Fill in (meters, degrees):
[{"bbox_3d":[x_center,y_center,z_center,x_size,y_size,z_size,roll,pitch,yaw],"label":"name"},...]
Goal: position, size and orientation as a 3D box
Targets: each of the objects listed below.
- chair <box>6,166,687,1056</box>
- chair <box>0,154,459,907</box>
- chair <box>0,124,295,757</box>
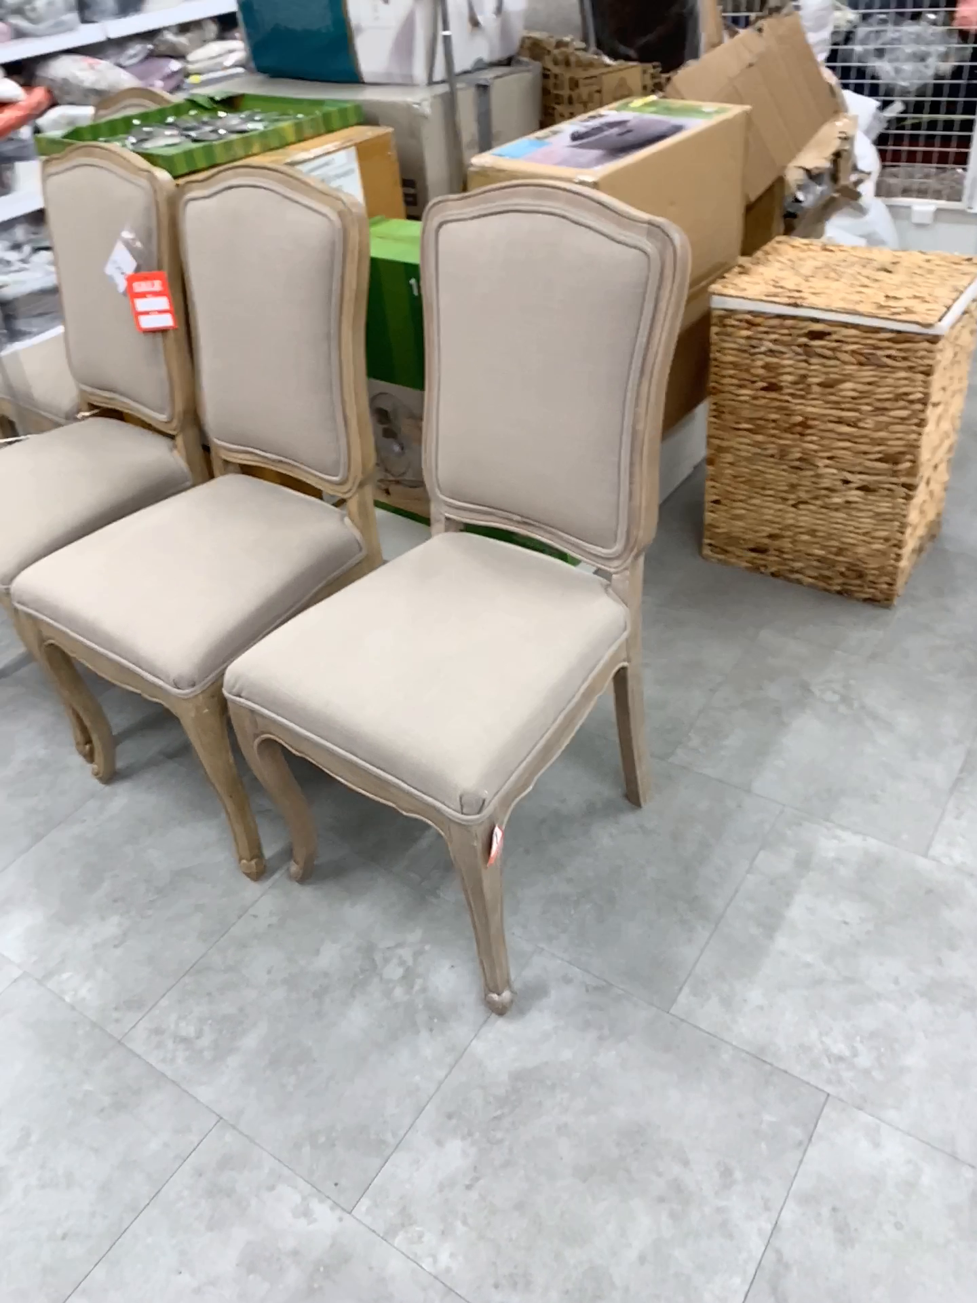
[{"bbox_3d":[-0.084,-0.063,1.365,0.508,0.973,0.549,18,43,31],"label":"chair"},{"bbox_3d":[-0.478,-0.203,1.622,0.509,0.973,0.548,22,45,35],"label":"chair"},{"bbox_3d":[-0.852,-0.412,1.923,0.509,0.973,0.548,22,45,35],"label":"chair"}]
